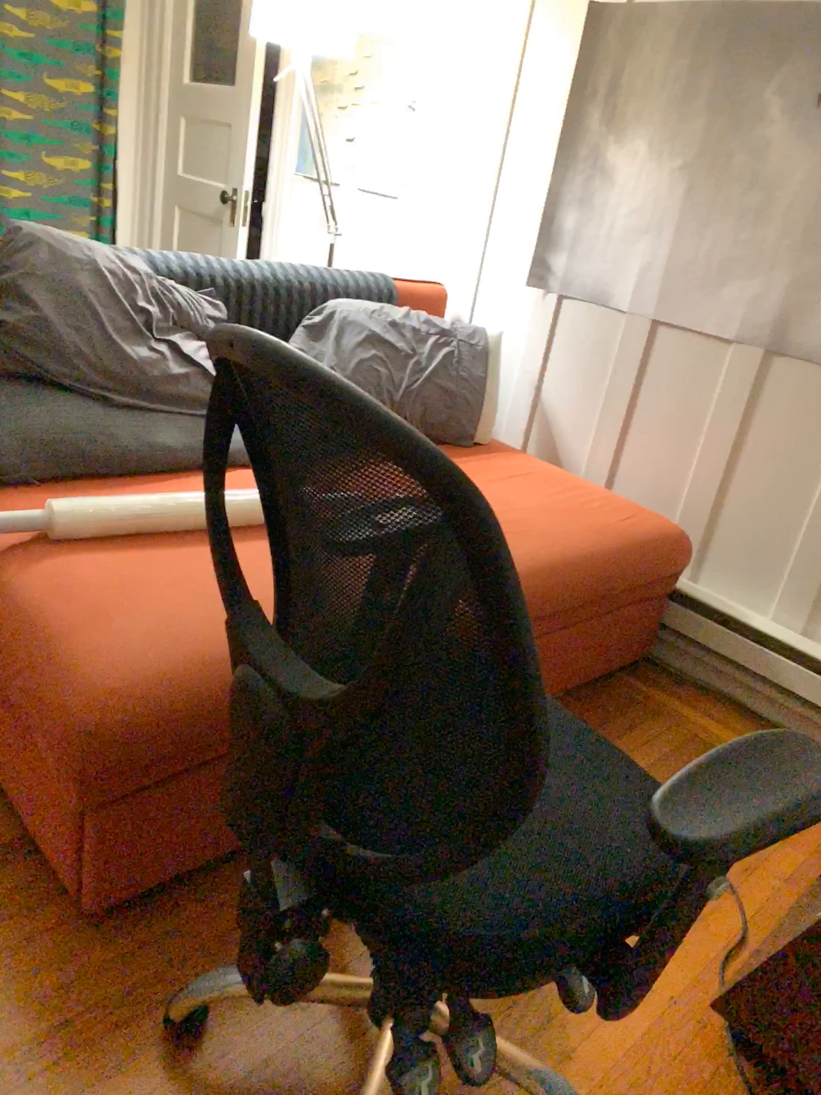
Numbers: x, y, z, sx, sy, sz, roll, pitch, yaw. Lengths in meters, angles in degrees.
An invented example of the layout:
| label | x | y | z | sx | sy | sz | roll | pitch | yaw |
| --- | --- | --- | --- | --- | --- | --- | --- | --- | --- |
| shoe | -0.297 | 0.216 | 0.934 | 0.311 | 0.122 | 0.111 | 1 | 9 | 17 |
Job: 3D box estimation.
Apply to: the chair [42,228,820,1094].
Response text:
| label | x | y | z | sx | sy | sz | roll | pitch | yaw |
| --- | --- | --- | --- | --- | --- | --- | --- | --- | --- |
| chair | 0.026 | 0.204 | 0.986 | 0.661 | 0.975 | 0.643 | -10 | 31 | -32 |
